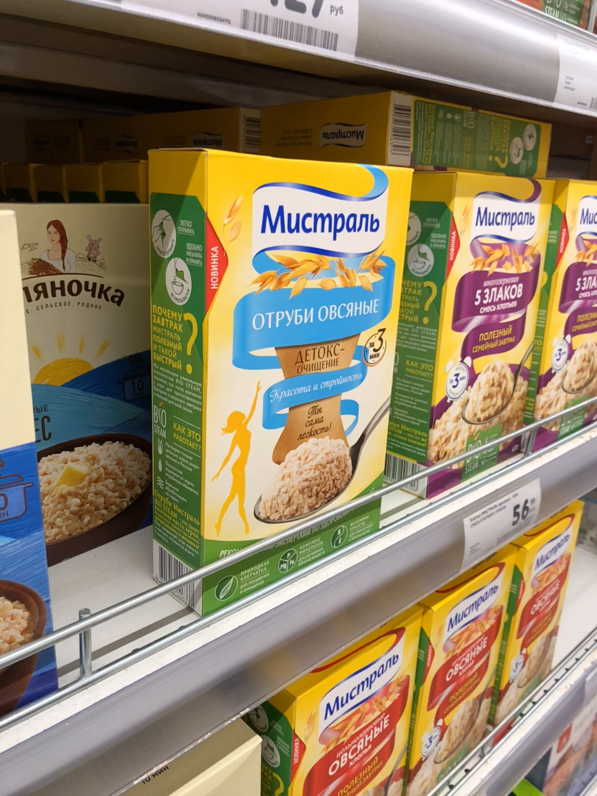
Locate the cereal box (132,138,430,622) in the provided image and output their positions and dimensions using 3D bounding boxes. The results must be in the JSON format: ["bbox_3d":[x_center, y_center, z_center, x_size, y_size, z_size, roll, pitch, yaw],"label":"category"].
[{"bbox_3d":[-0.005,-0.015,0.339,0.140,0.209,0.050,-14,23,-41],"label":"cereal box"}]
